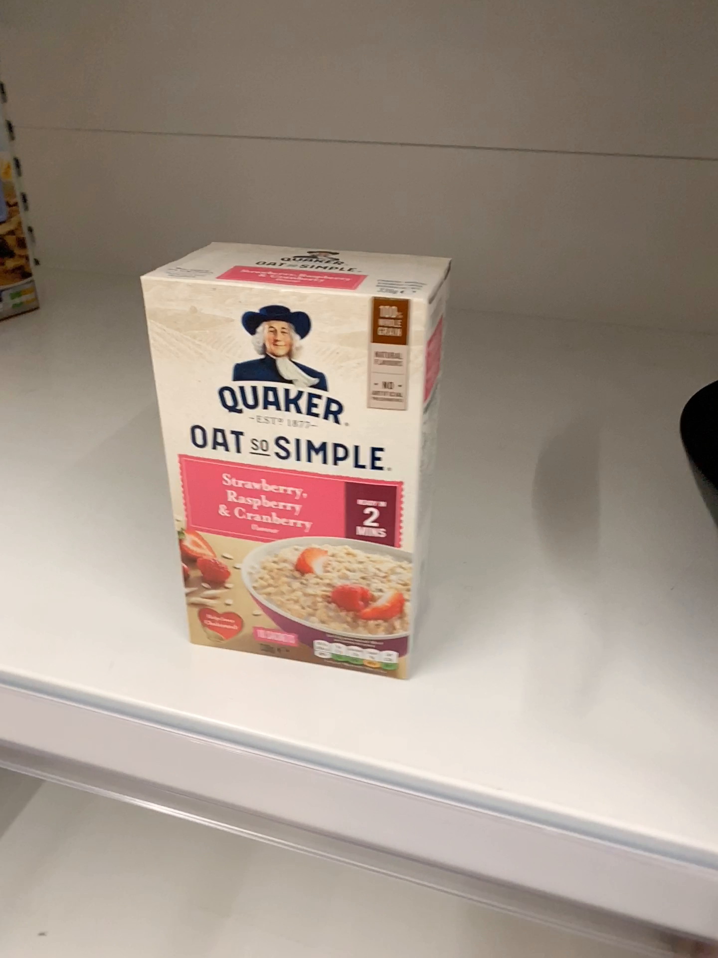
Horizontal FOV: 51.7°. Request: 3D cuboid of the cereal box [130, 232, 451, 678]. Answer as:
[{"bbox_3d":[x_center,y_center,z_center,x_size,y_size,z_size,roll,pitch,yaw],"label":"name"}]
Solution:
[{"bbox_3d":[-0.028,-0.012,0.392,0.130,0.208,0.081,7,30,10],"label":"cereal box"}]
